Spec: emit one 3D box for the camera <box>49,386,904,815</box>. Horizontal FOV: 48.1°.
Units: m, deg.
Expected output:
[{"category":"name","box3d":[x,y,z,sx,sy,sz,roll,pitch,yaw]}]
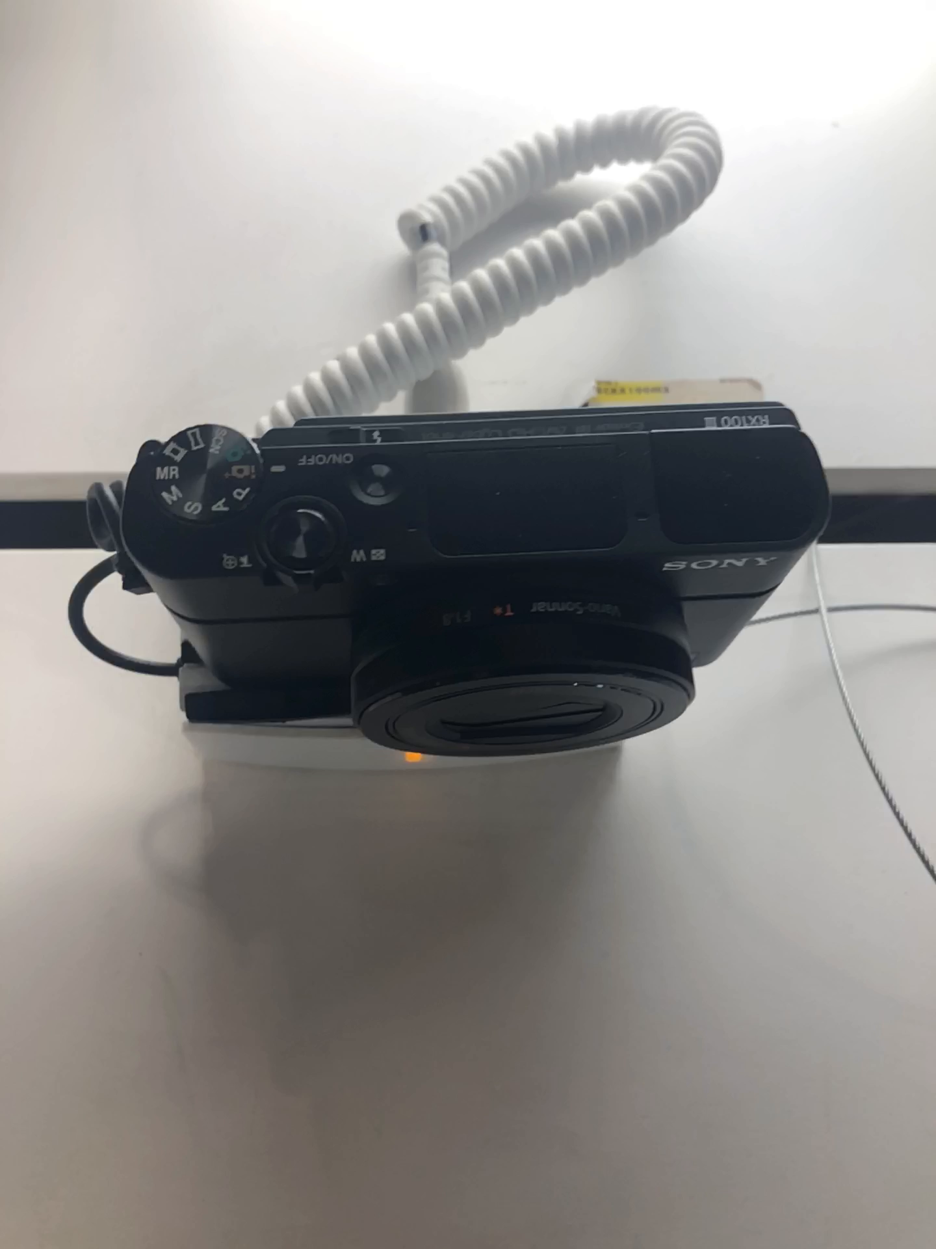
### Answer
[{"category":"camera","box3d":[0.000,-0.001,0.156,0.102,0.052,0.041,-3,67,-1]}]
